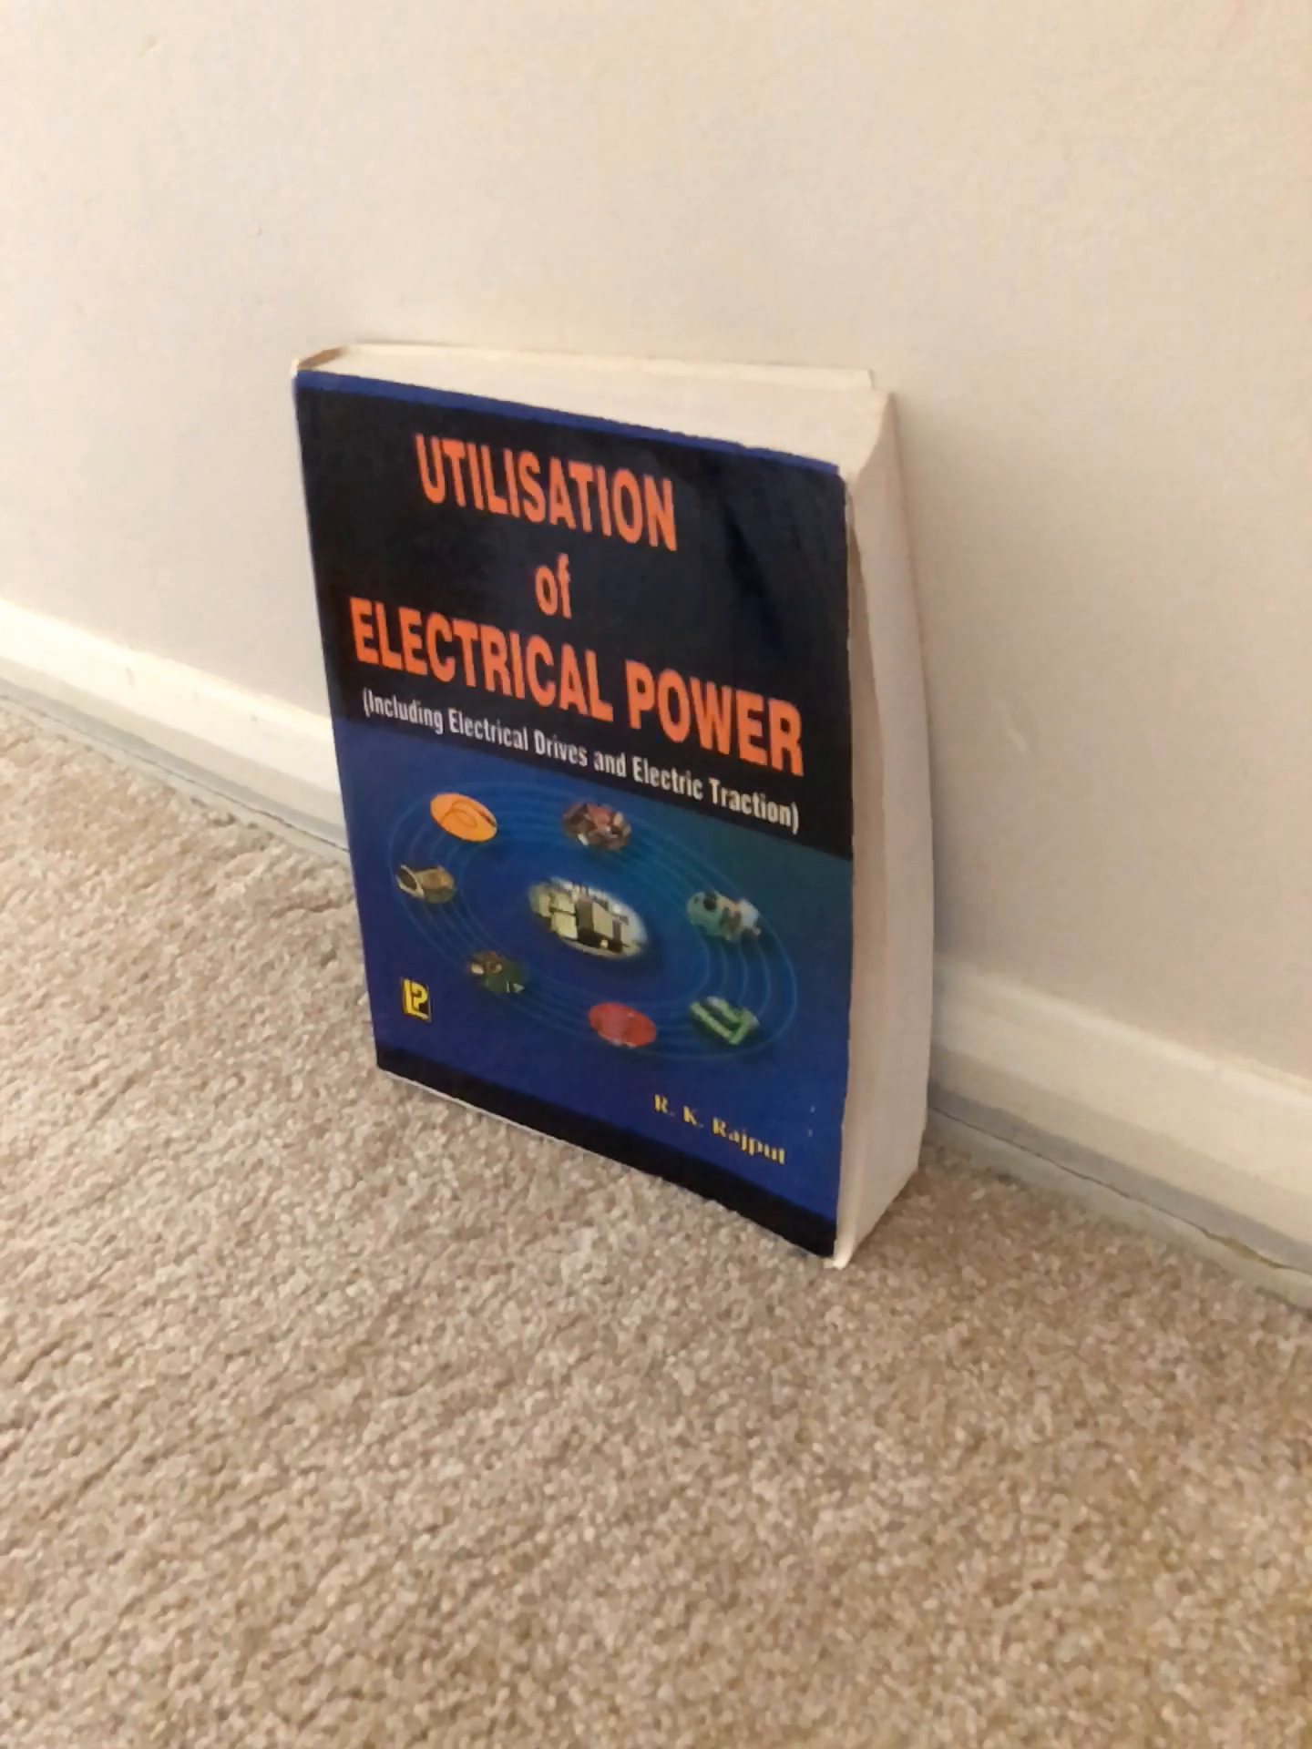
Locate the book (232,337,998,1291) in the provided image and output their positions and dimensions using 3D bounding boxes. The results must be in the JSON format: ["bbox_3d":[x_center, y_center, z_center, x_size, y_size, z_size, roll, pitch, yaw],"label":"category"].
[{"bbox_3d":[-0.010,-0.020,0.403,0.191,0.229,0.050,16,36,31],"label":"book"}]
